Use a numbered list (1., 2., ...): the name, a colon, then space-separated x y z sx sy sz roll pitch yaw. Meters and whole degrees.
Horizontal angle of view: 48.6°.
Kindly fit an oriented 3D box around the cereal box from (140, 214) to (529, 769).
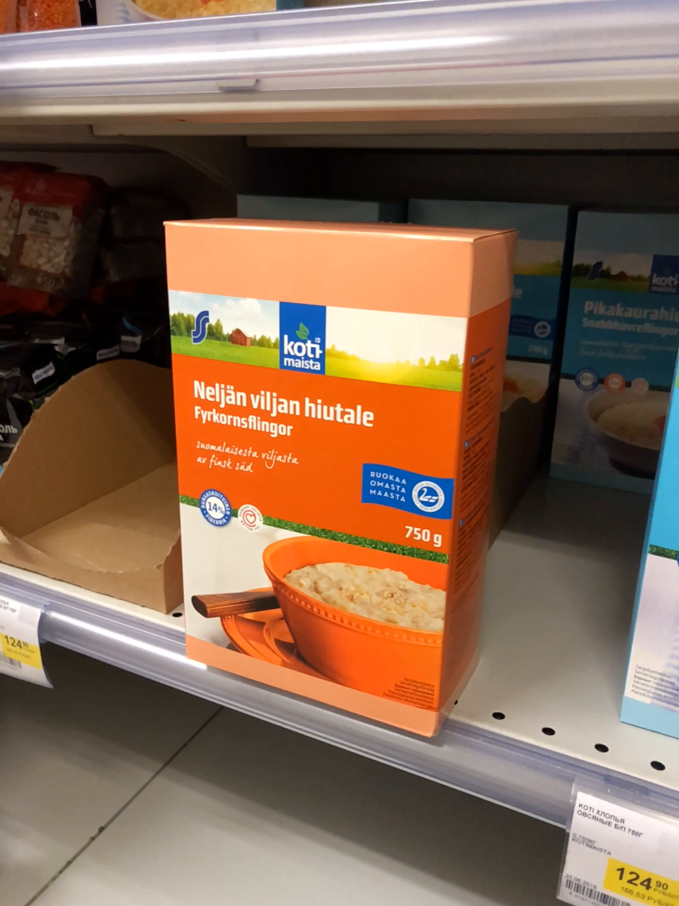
1. cereal box: -0.004 0.007 0.362 0.150 0.229 0.080 10 19 25
